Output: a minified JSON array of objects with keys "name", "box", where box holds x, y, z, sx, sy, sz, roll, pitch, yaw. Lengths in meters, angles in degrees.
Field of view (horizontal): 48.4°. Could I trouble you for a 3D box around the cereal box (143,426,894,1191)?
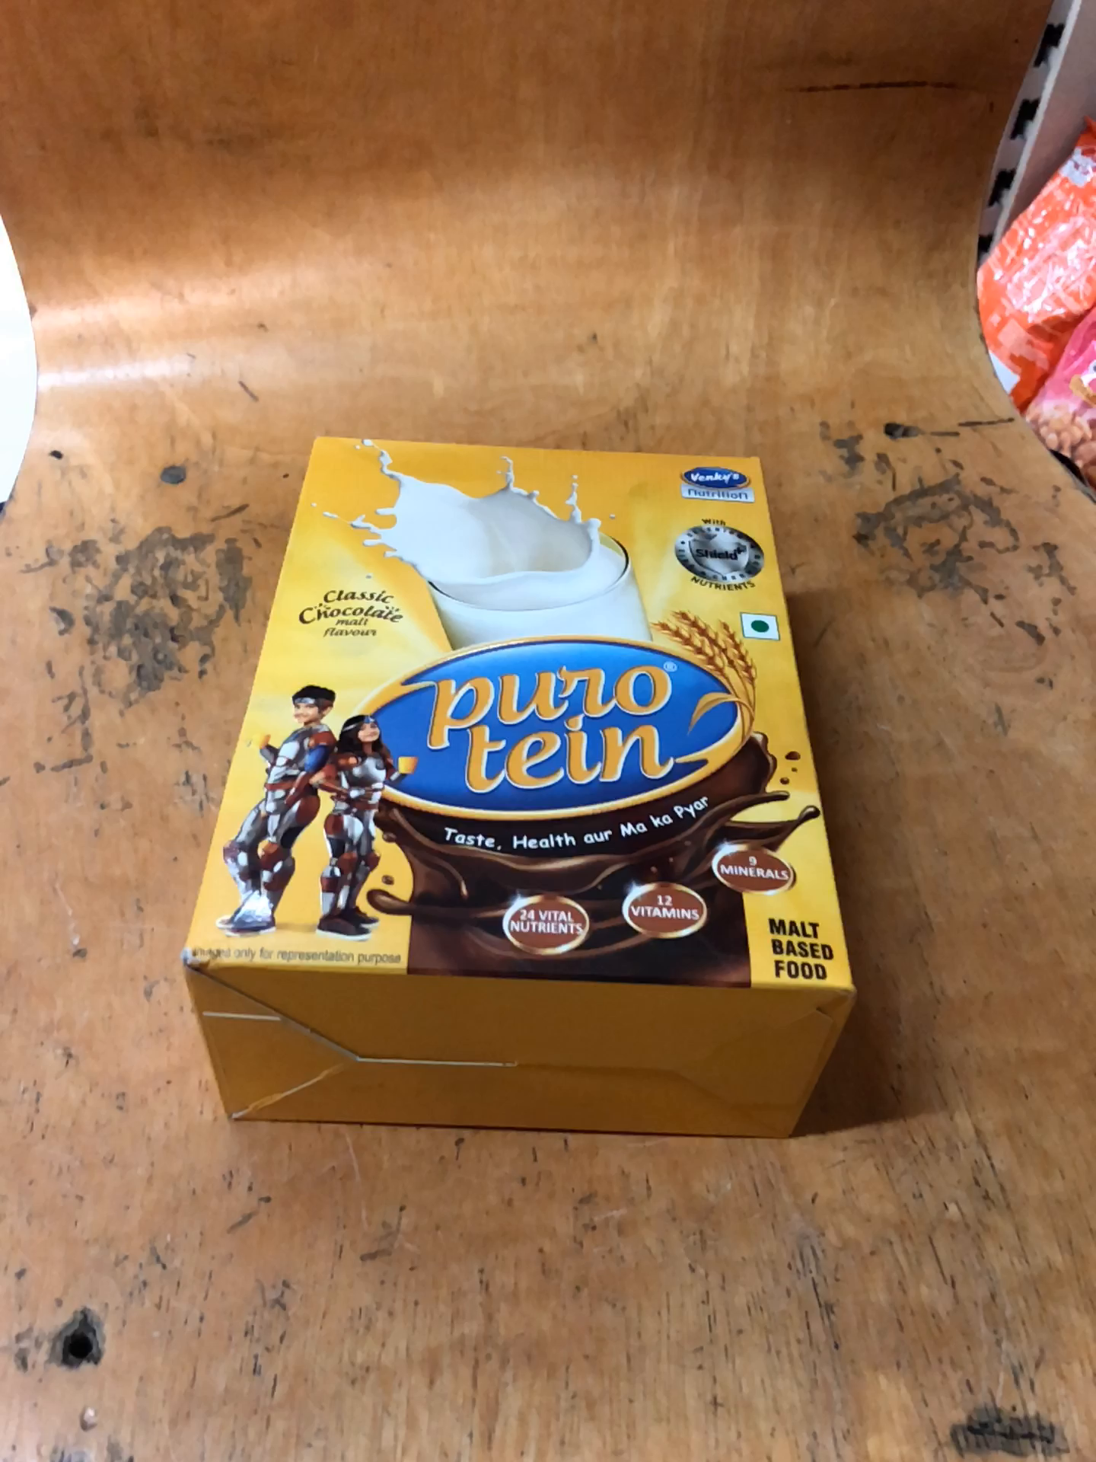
[{"name":"cereal box","box":[-0.005,0.011,0.317,0.140,0.080,0.181,3,48,-2]}]
